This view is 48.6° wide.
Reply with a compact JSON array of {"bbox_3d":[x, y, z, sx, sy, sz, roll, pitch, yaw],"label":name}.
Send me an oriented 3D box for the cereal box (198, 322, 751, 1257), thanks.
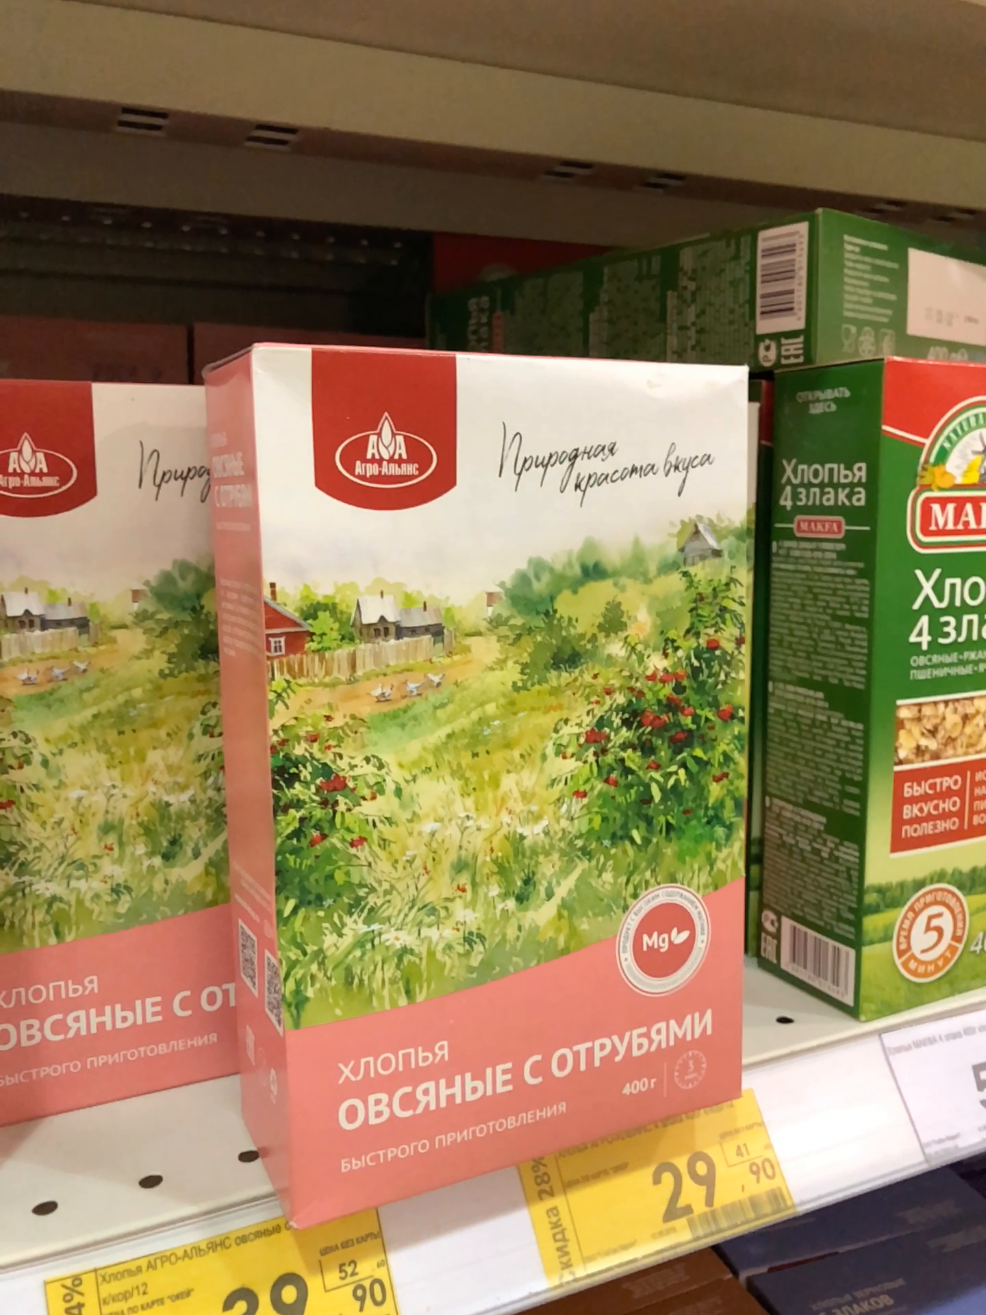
[{"bbox_3d":[-0.003,0.026,0.294,0.130,0.210,0.060,-4,7,-25],"label":"cereal box"}]
